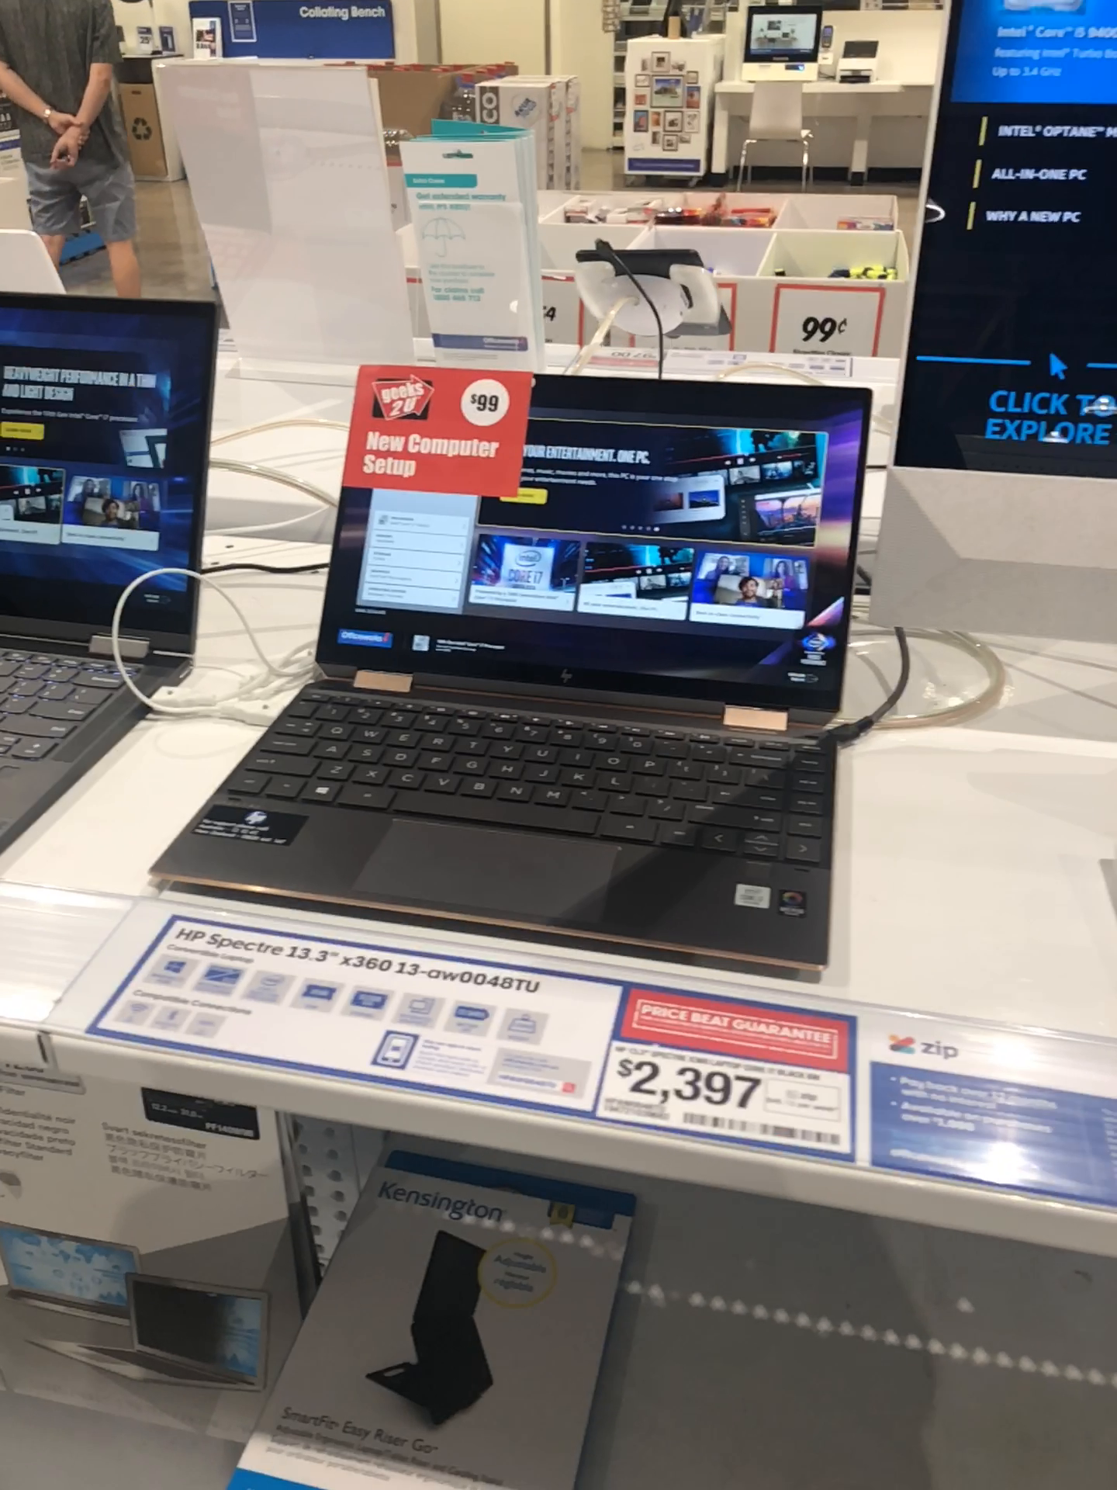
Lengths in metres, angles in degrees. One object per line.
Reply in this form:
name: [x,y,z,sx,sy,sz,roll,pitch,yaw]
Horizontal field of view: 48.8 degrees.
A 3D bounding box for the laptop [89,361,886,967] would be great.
laptop: [-0.001,-0.071,0.613,0.298,0.147,0.315,6,32,12]
